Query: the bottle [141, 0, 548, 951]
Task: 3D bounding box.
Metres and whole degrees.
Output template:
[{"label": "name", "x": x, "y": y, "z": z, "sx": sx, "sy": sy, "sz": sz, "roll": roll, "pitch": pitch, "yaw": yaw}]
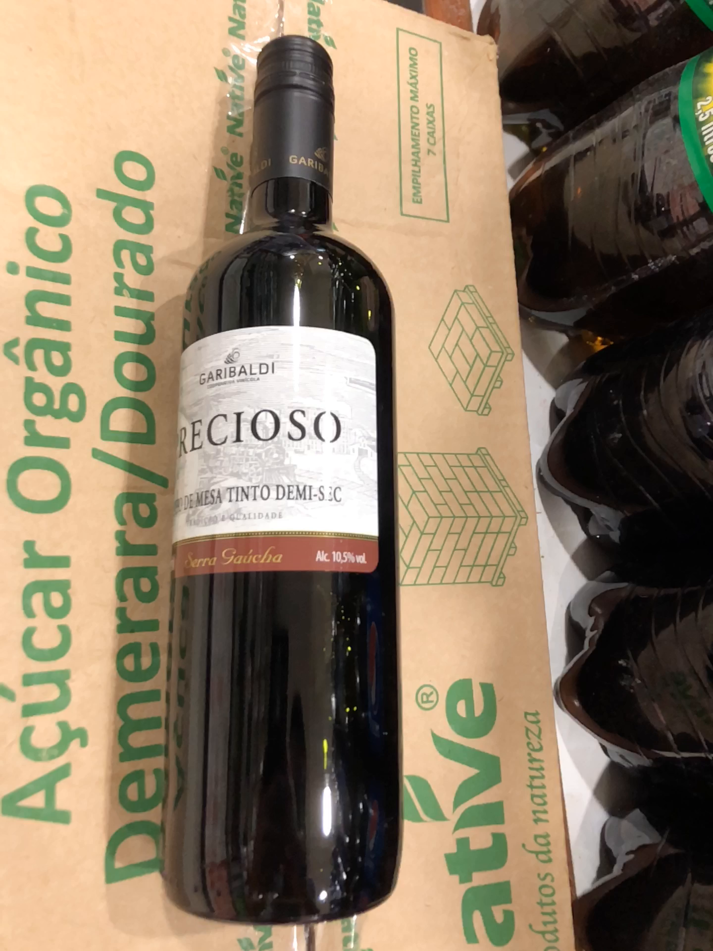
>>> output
[{"label": "bottle", "x": -0.007, "y": -0.027, "z": 0.270, "sx": 0.090, "sy": 0.080, "sz": 0.340, "roll": 8, "pitch": 74, "yaw": -32}]
